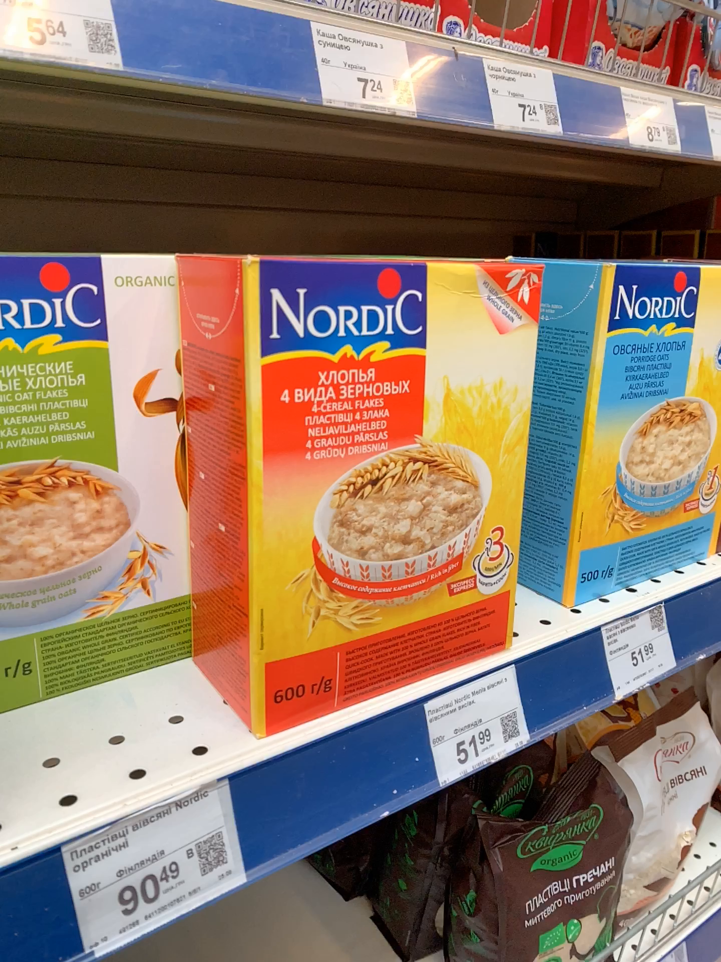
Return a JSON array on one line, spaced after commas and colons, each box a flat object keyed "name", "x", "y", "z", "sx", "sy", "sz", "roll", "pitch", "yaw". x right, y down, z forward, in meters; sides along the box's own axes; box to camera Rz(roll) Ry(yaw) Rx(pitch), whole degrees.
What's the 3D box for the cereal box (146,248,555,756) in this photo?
[{"name": "cereal box", "x": -0.004, "y": -0.005, "z": 0.336, "sx": 0.150, "sy": 0.189, "sz": 0.080, "roll": -10, "pitch": 20, "yaw": -31}]
